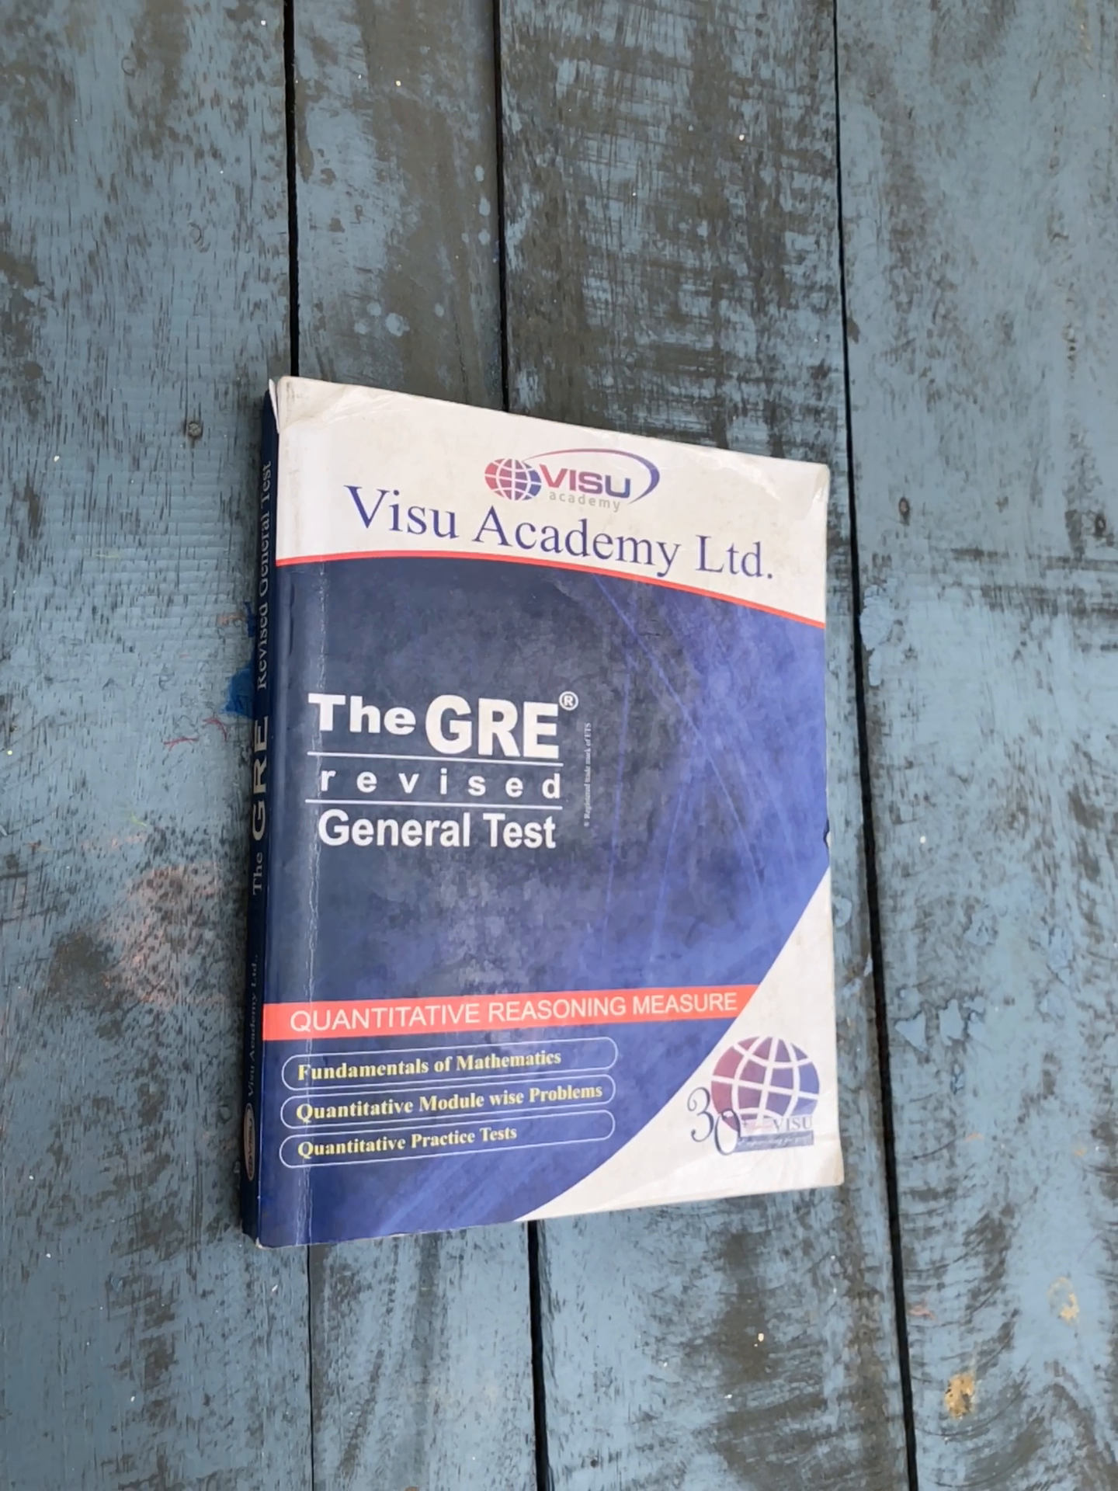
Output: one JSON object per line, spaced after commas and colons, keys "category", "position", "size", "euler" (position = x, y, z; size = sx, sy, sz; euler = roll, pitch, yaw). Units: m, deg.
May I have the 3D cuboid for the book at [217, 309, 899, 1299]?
{"category": "book", "position": [0.003, 0.018, 0.433], "size": [0.220, 0.060, 0.290], "euler": [3, 81, -23]}
